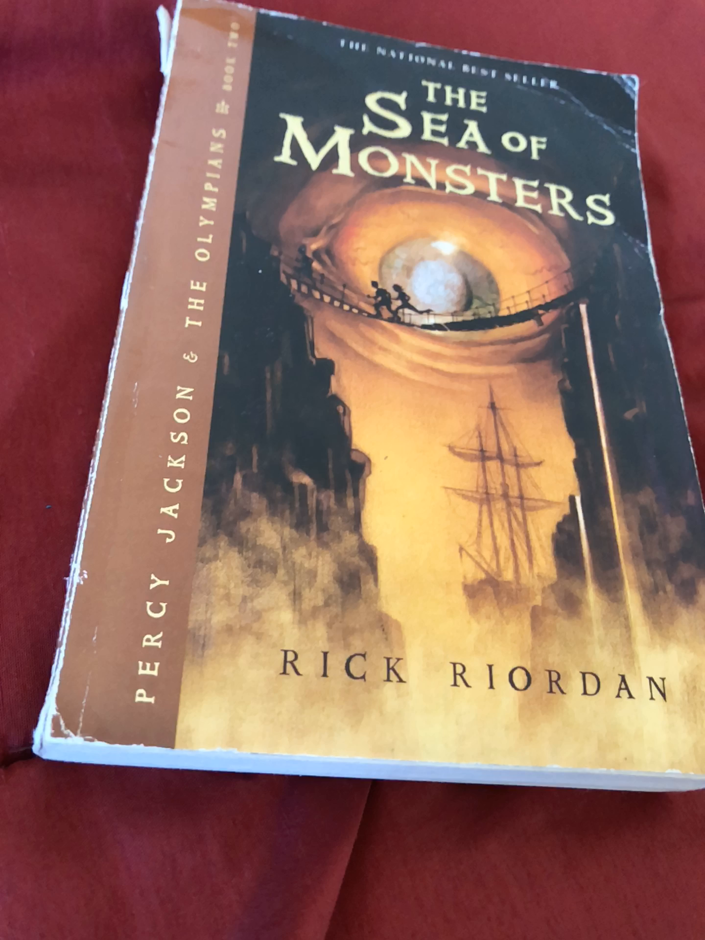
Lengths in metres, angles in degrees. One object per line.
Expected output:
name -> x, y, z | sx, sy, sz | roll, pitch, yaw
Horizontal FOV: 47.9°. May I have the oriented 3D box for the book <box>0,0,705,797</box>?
book -> 0.013, -0.033, 0.187 | 0.144, 0.030, 0.197 | 7, 64, -10
